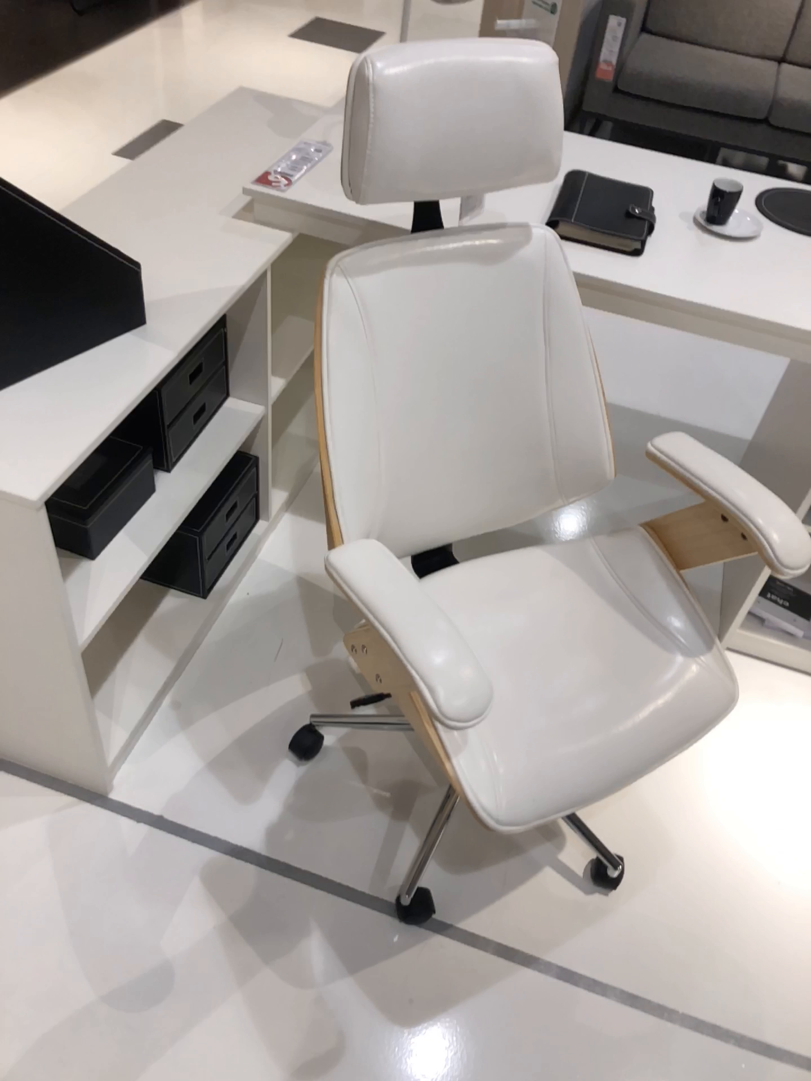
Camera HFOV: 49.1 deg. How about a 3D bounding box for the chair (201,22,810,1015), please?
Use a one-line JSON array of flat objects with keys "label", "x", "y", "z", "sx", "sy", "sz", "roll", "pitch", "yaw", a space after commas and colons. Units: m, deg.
[{"label": "chair", "x": 0.180, "y": -0.006, "z": 1.272, "sx": 0.672, "sy": 1.102, "sz": 0.703, "roll": -17, "pitch": 50, "yaw": -24}]
